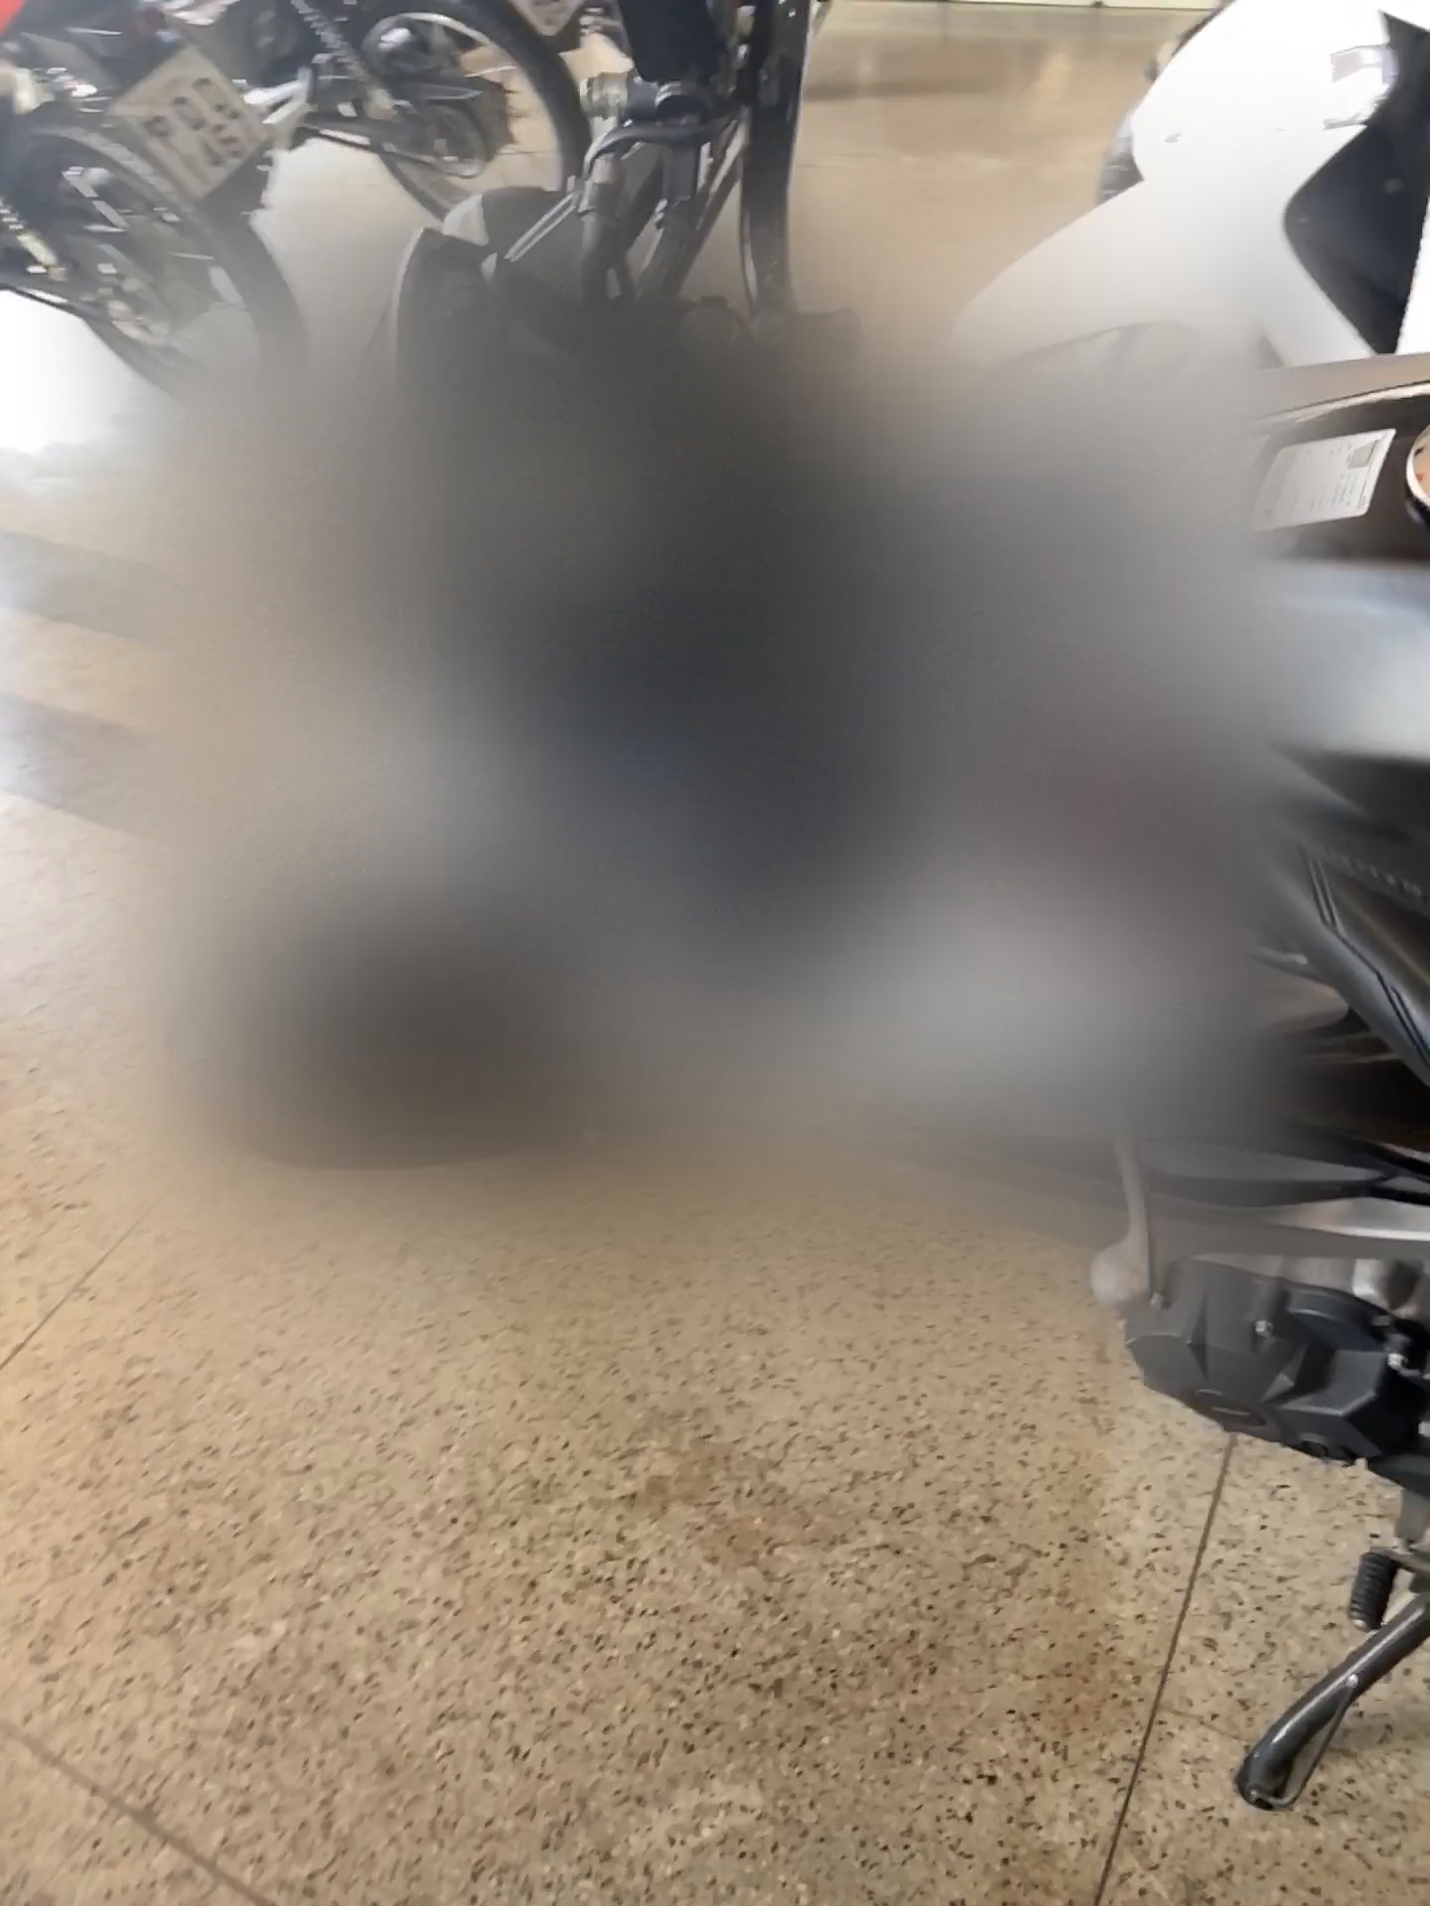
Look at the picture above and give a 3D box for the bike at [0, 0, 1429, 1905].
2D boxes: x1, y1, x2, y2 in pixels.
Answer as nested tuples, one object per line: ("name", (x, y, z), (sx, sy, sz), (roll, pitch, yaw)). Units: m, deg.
("bike", (0.441, 0.237, 0.659), (2.003, 1.331, 0.819), (12, 47, 20))
